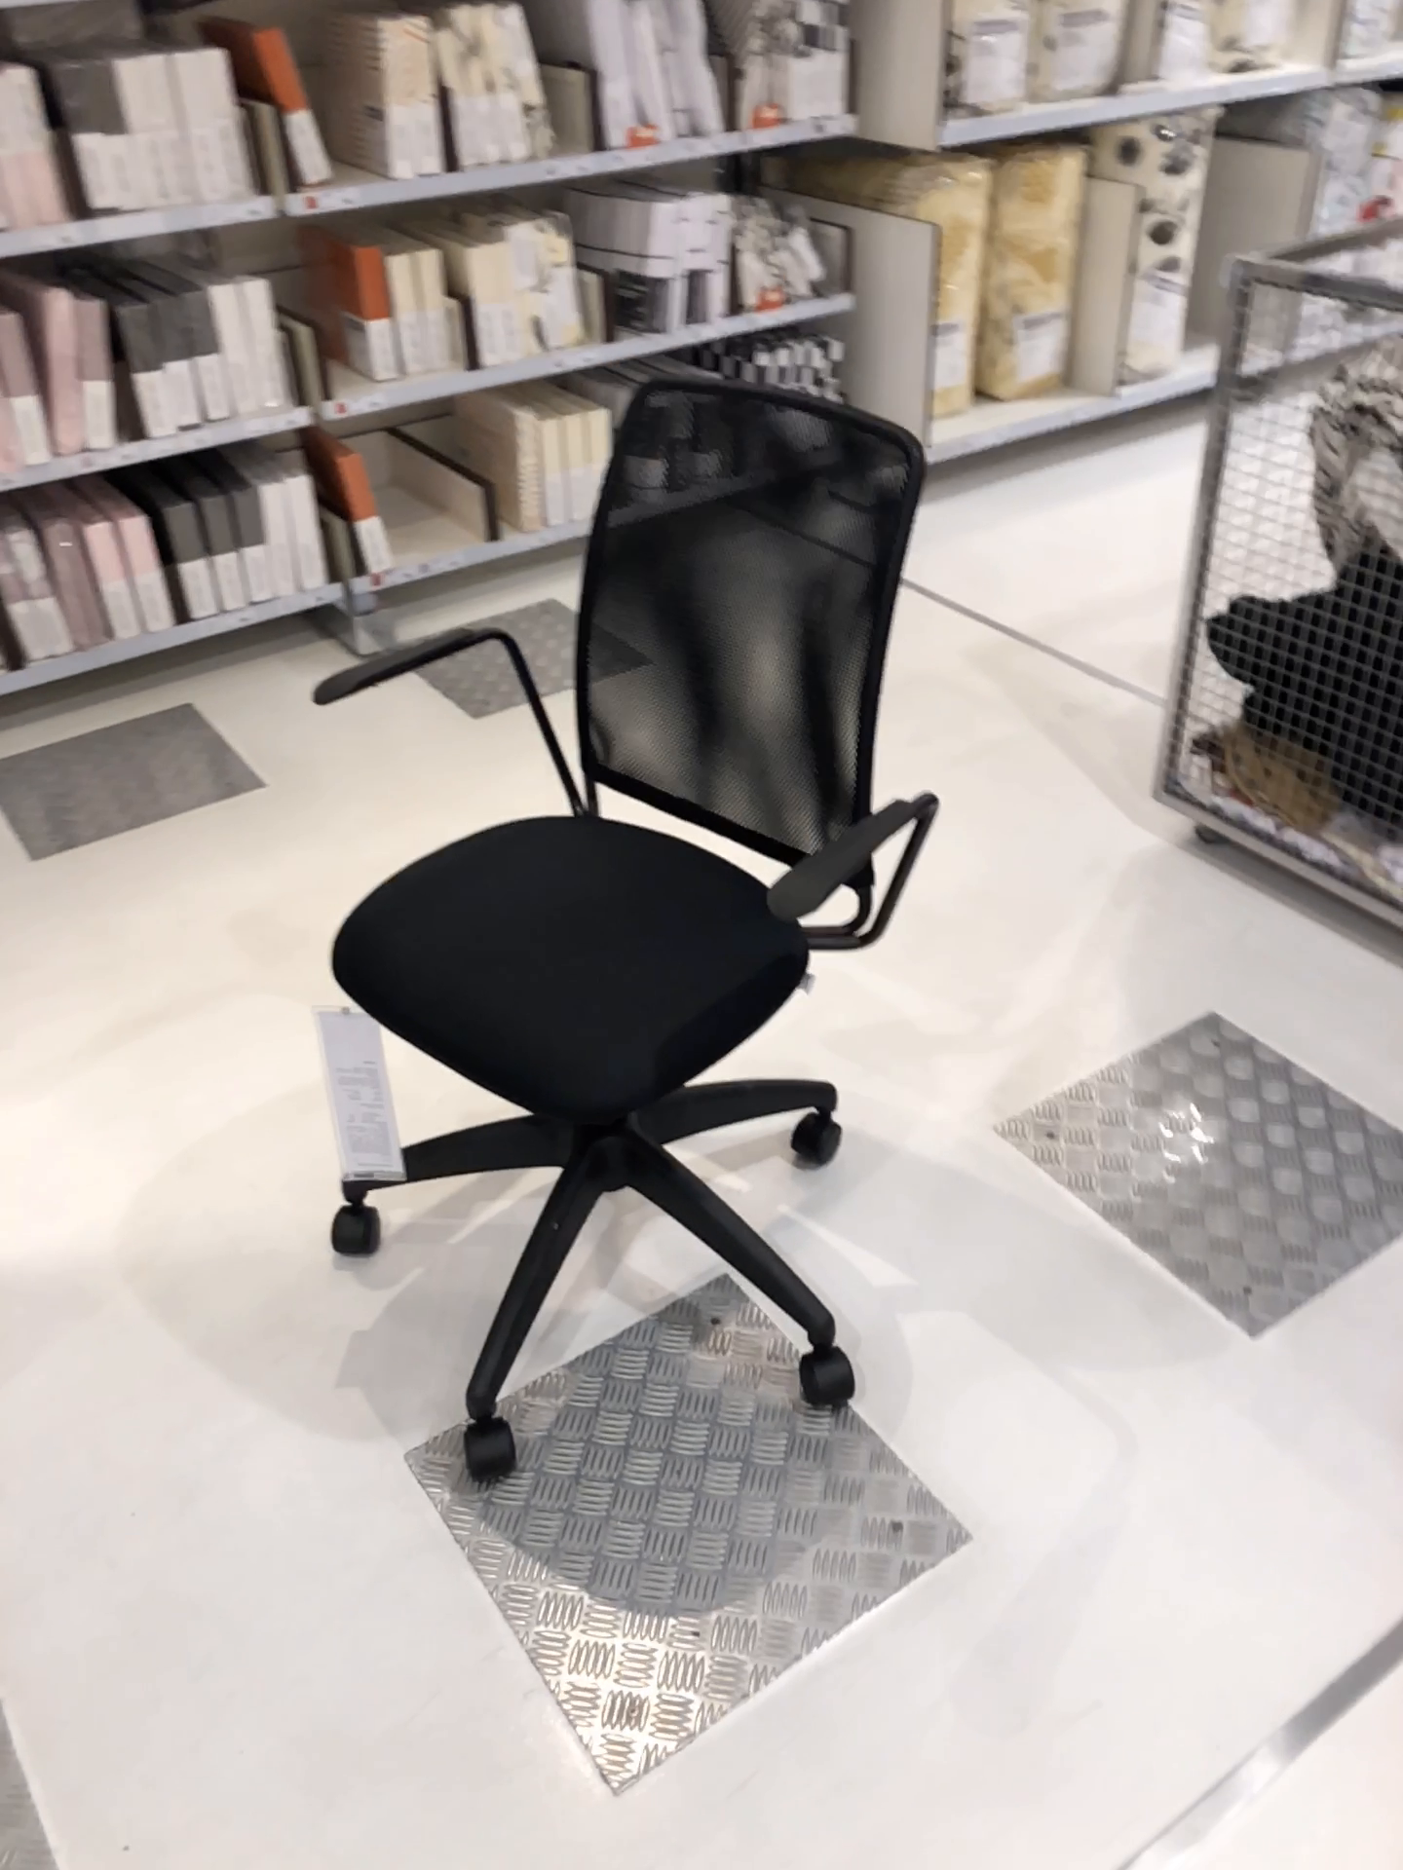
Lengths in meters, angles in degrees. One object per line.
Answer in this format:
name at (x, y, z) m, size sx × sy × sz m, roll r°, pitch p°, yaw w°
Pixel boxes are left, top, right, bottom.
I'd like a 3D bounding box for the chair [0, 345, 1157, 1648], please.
chair at (-0.079, -0.007, 1.444) m, size 0.632 × 0.814 × 0.693 m, roll 25°, pitch 43°, yaw 33°
